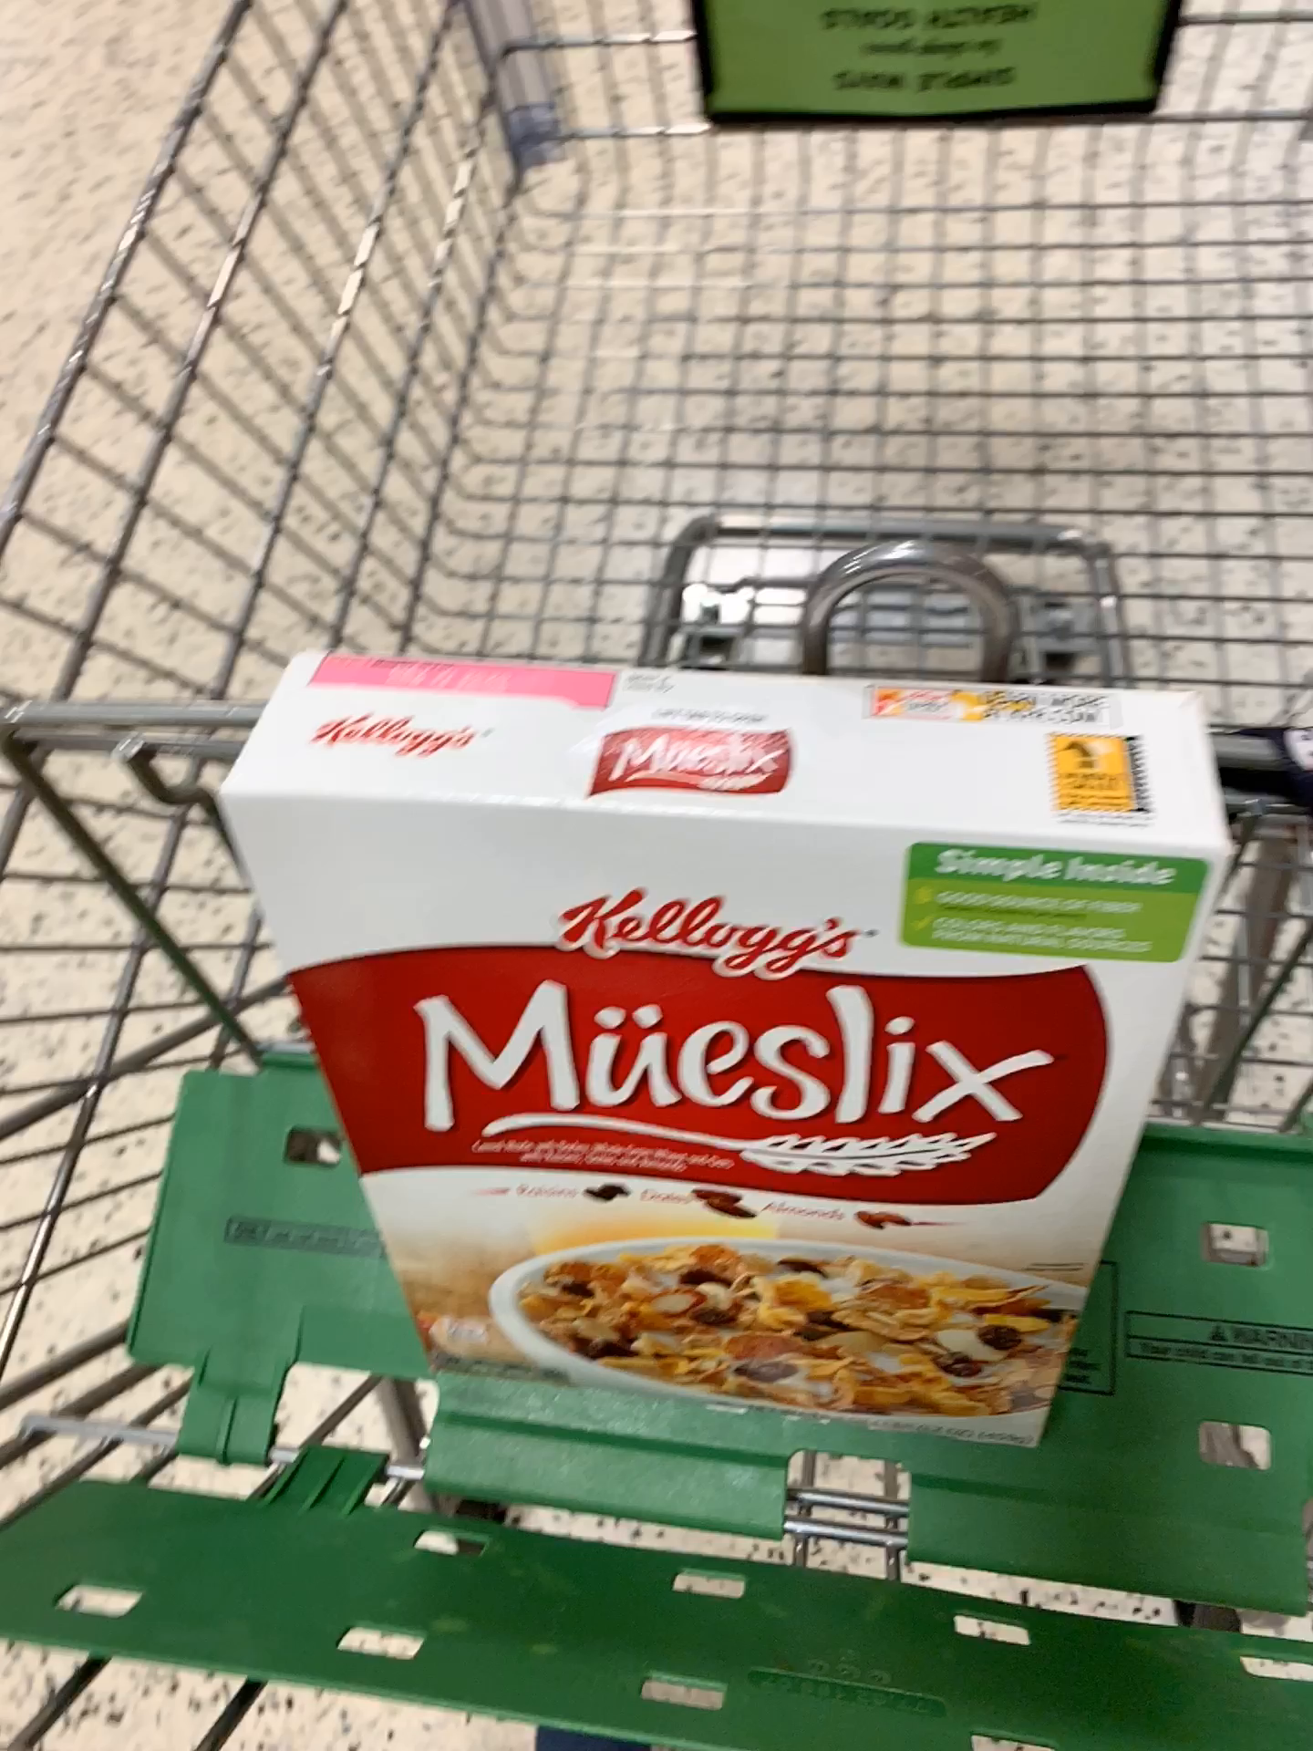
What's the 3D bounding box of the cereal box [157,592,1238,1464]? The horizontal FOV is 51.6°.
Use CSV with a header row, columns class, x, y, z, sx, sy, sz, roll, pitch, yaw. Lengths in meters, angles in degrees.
class,x,y,z,sx,sy,sz,roll,pitch,yaw
cereal box,0.013,0.060,0.364,0.200,0.268,0.060,4,45,8
